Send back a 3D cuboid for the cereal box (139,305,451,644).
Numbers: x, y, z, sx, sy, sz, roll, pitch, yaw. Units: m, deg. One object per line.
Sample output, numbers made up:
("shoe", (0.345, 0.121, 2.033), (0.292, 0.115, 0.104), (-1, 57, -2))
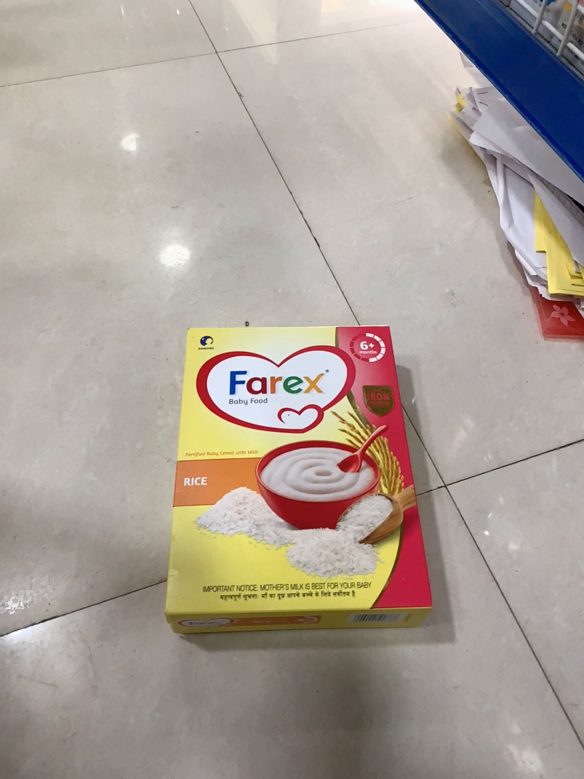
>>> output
("cereal box", (-0.002, 0.045, 0.390), (0.160, 0.060, 0.211), (-1, 56, -3))
